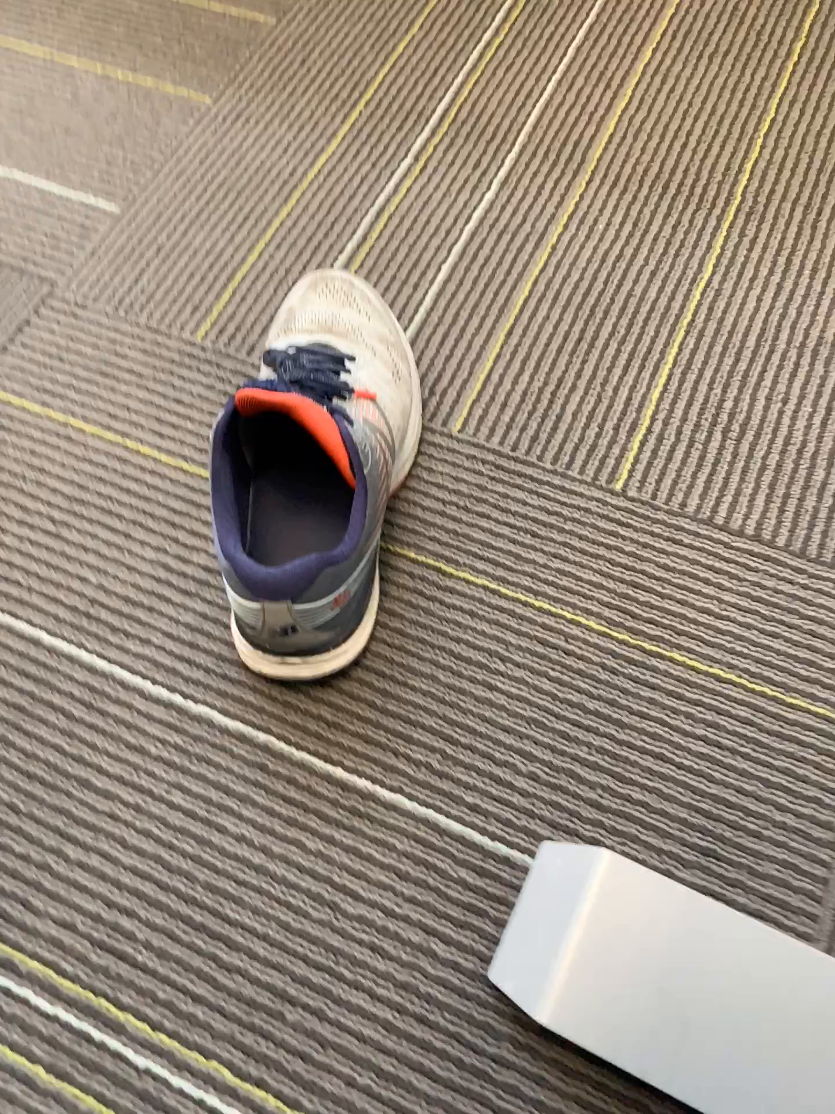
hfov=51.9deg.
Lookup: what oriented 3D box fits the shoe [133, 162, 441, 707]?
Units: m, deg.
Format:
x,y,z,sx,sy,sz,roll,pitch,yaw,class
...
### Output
x,y,z,sx,sy,sz,roll,pitch,yaw,class
-0.057,-0.079,0.505,0.110,0.110,0.300,5,64,5,shoe
